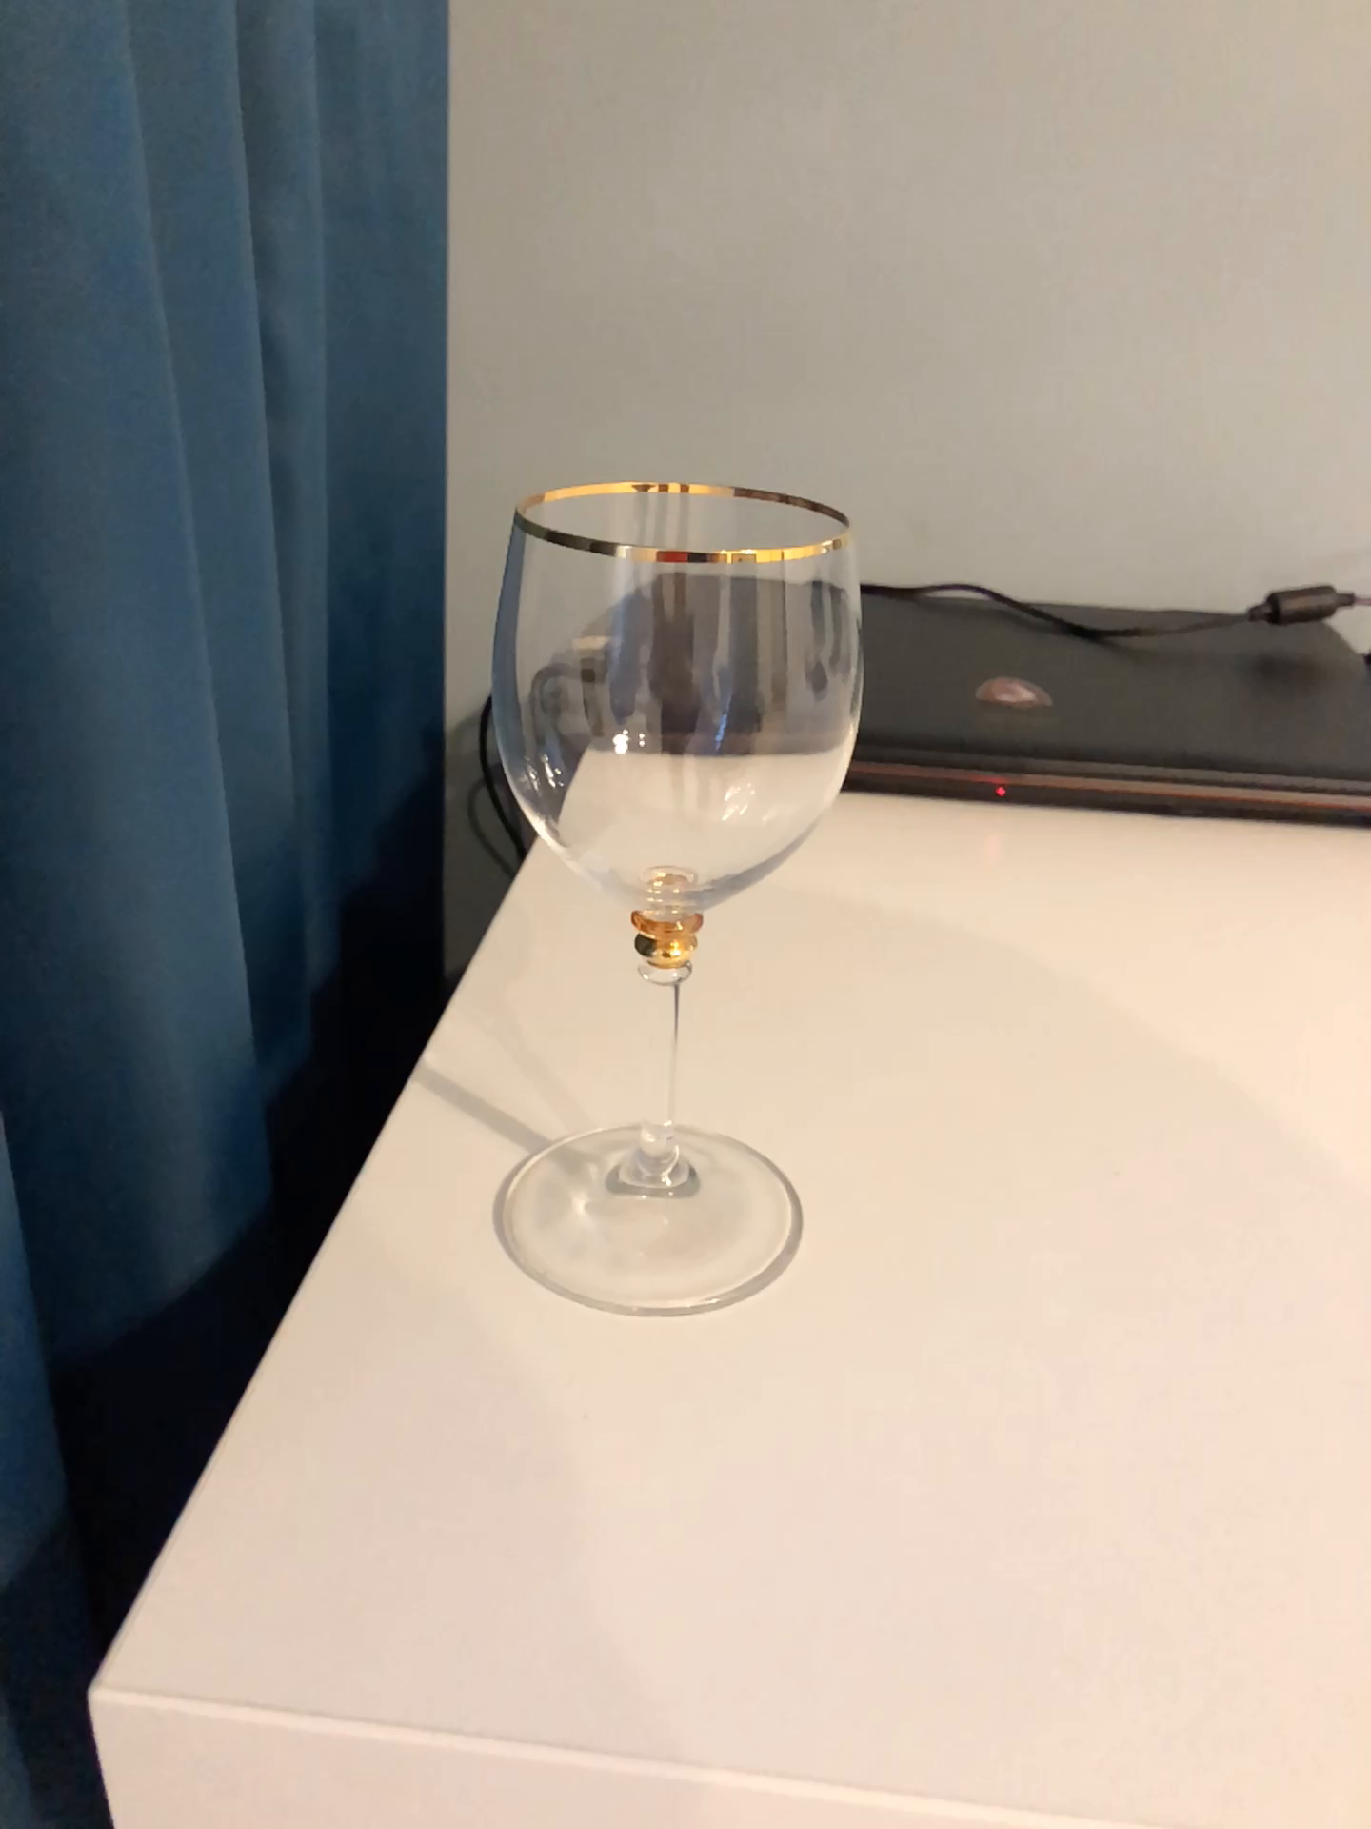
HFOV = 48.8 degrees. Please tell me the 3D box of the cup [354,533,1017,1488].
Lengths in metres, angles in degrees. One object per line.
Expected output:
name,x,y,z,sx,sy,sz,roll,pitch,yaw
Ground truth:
cup,-0.006,0.012,0.354,0.100,0.179,0.100,4,21,-2
